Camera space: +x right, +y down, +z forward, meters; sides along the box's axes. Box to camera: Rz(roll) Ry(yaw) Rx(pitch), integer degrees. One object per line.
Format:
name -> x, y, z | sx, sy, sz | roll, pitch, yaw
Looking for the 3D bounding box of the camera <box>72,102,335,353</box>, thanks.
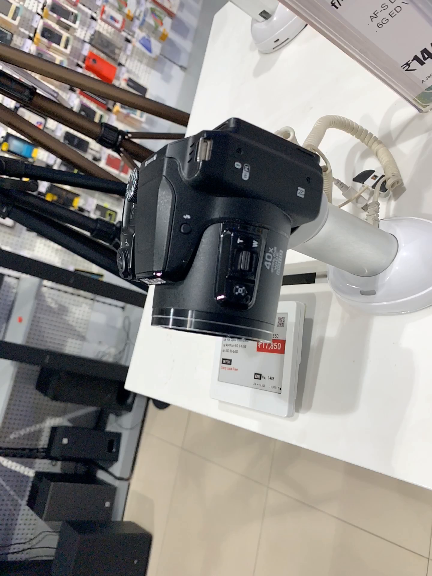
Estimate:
camera -> -0.013, -0.017, 0.221 | 0.113, 0.070, 0.083 | -4, 76, 55
